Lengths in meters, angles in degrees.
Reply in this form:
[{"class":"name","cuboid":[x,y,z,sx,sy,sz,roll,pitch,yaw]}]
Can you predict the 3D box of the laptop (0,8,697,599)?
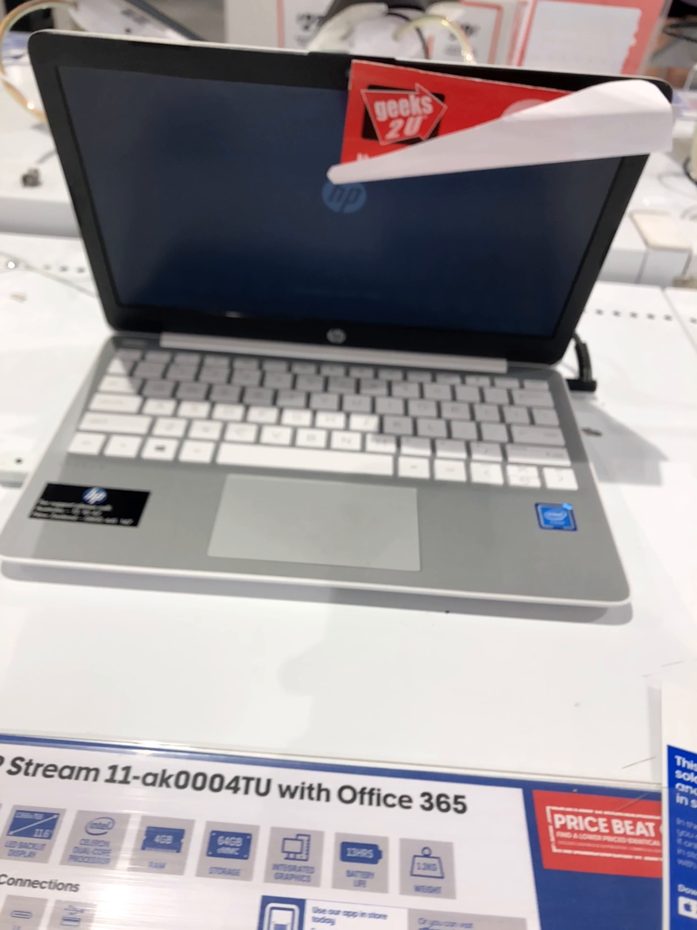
[{"class":"laptop","cuboid":[-0.005,-0.077,0.349,0.273,0.173,0.184,4,39,-1]}]
